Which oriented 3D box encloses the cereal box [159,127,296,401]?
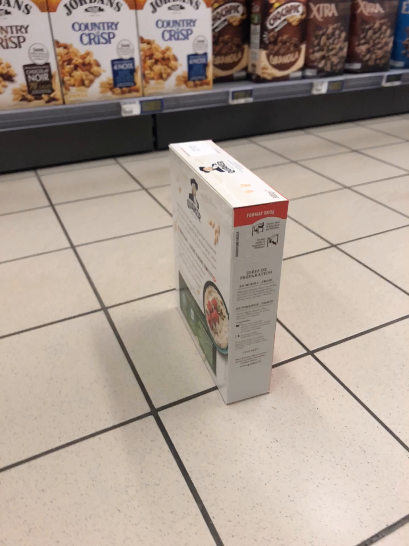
[{"bbox_3d":[0.010,-0.022,0.507,0.060,0.229,0.211,-10,32,-18],"label":"cereal box"}]
